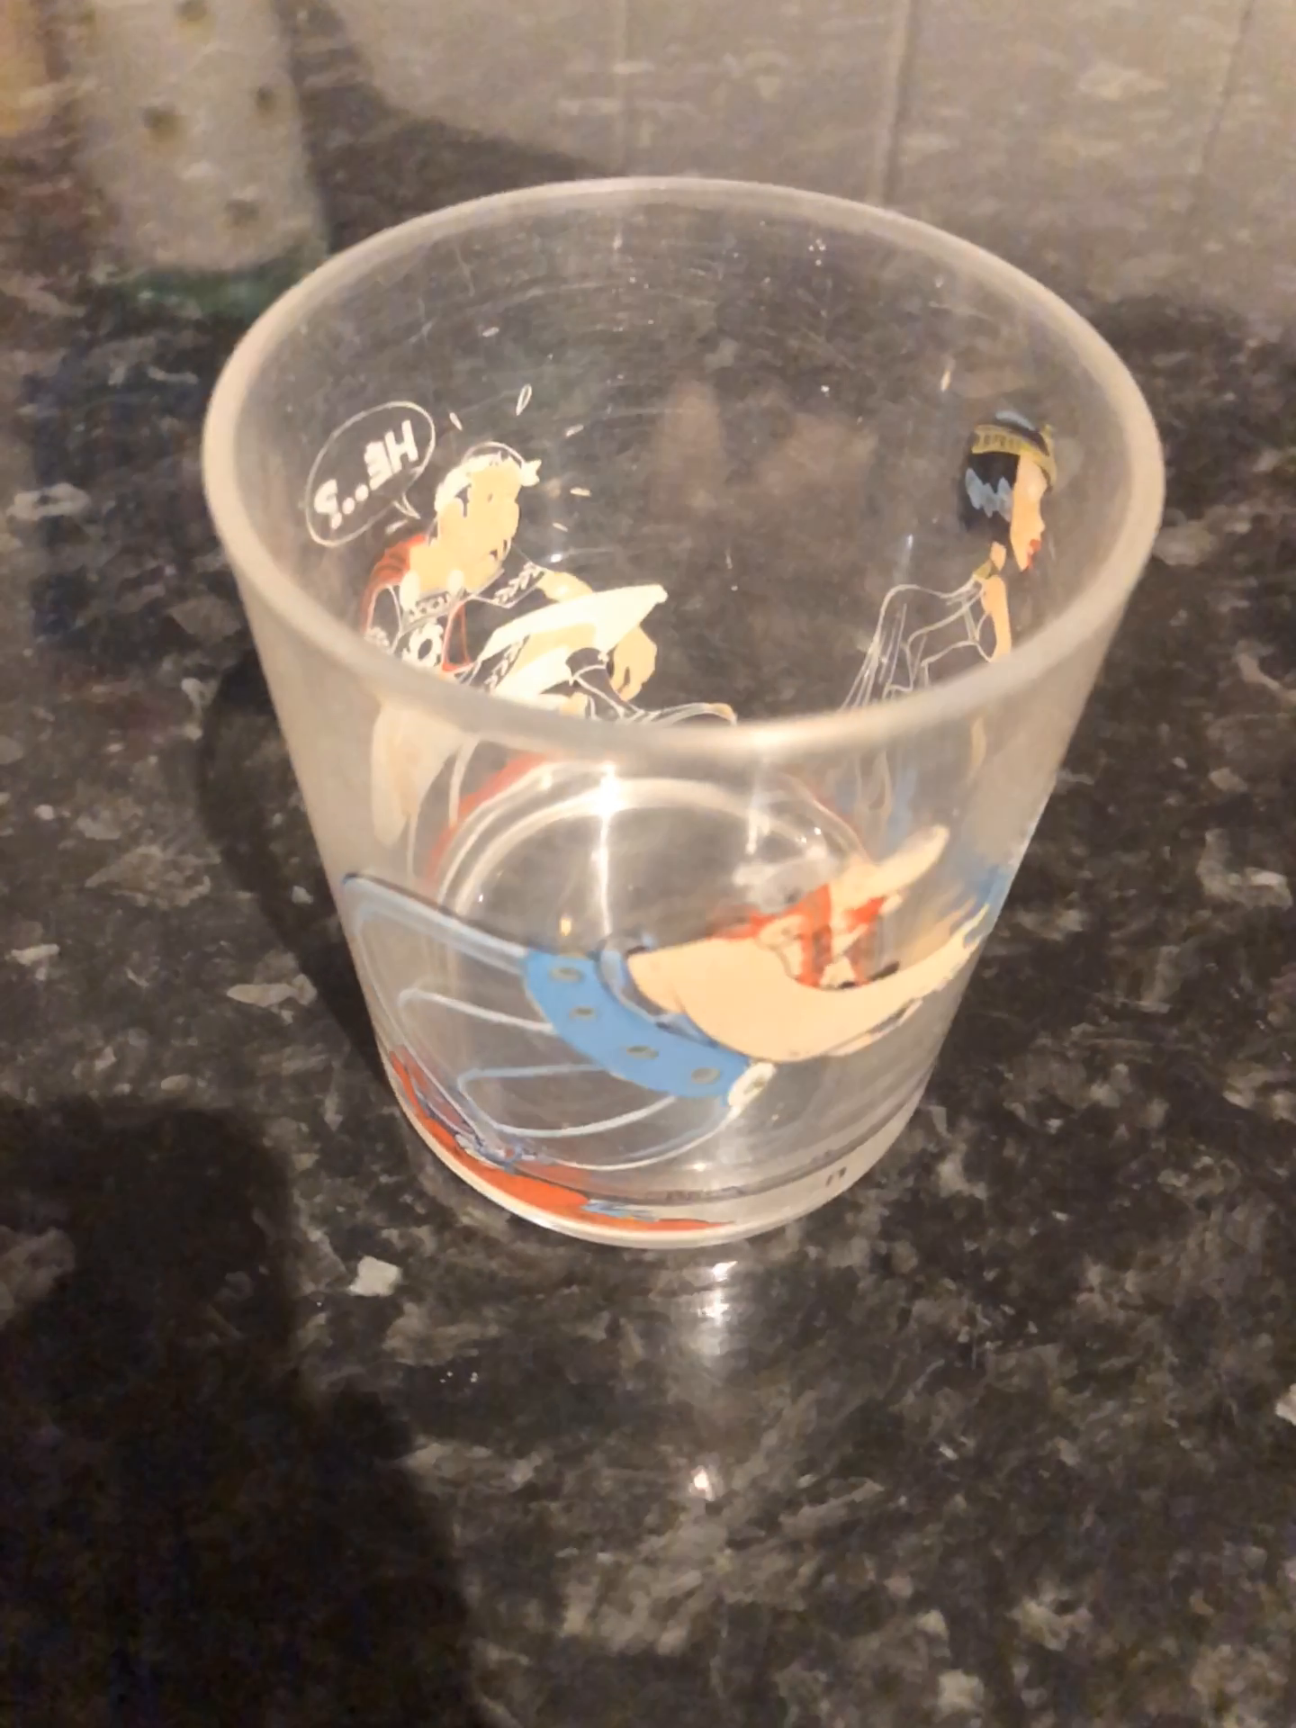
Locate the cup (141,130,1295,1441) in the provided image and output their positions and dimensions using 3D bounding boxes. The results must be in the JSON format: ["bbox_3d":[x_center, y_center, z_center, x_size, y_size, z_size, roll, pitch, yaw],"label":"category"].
[{"bbox_3d":[0.004,-0.008,0.137,0.080,0.080,0.080,1,51,-1],"label":"cup"}]
